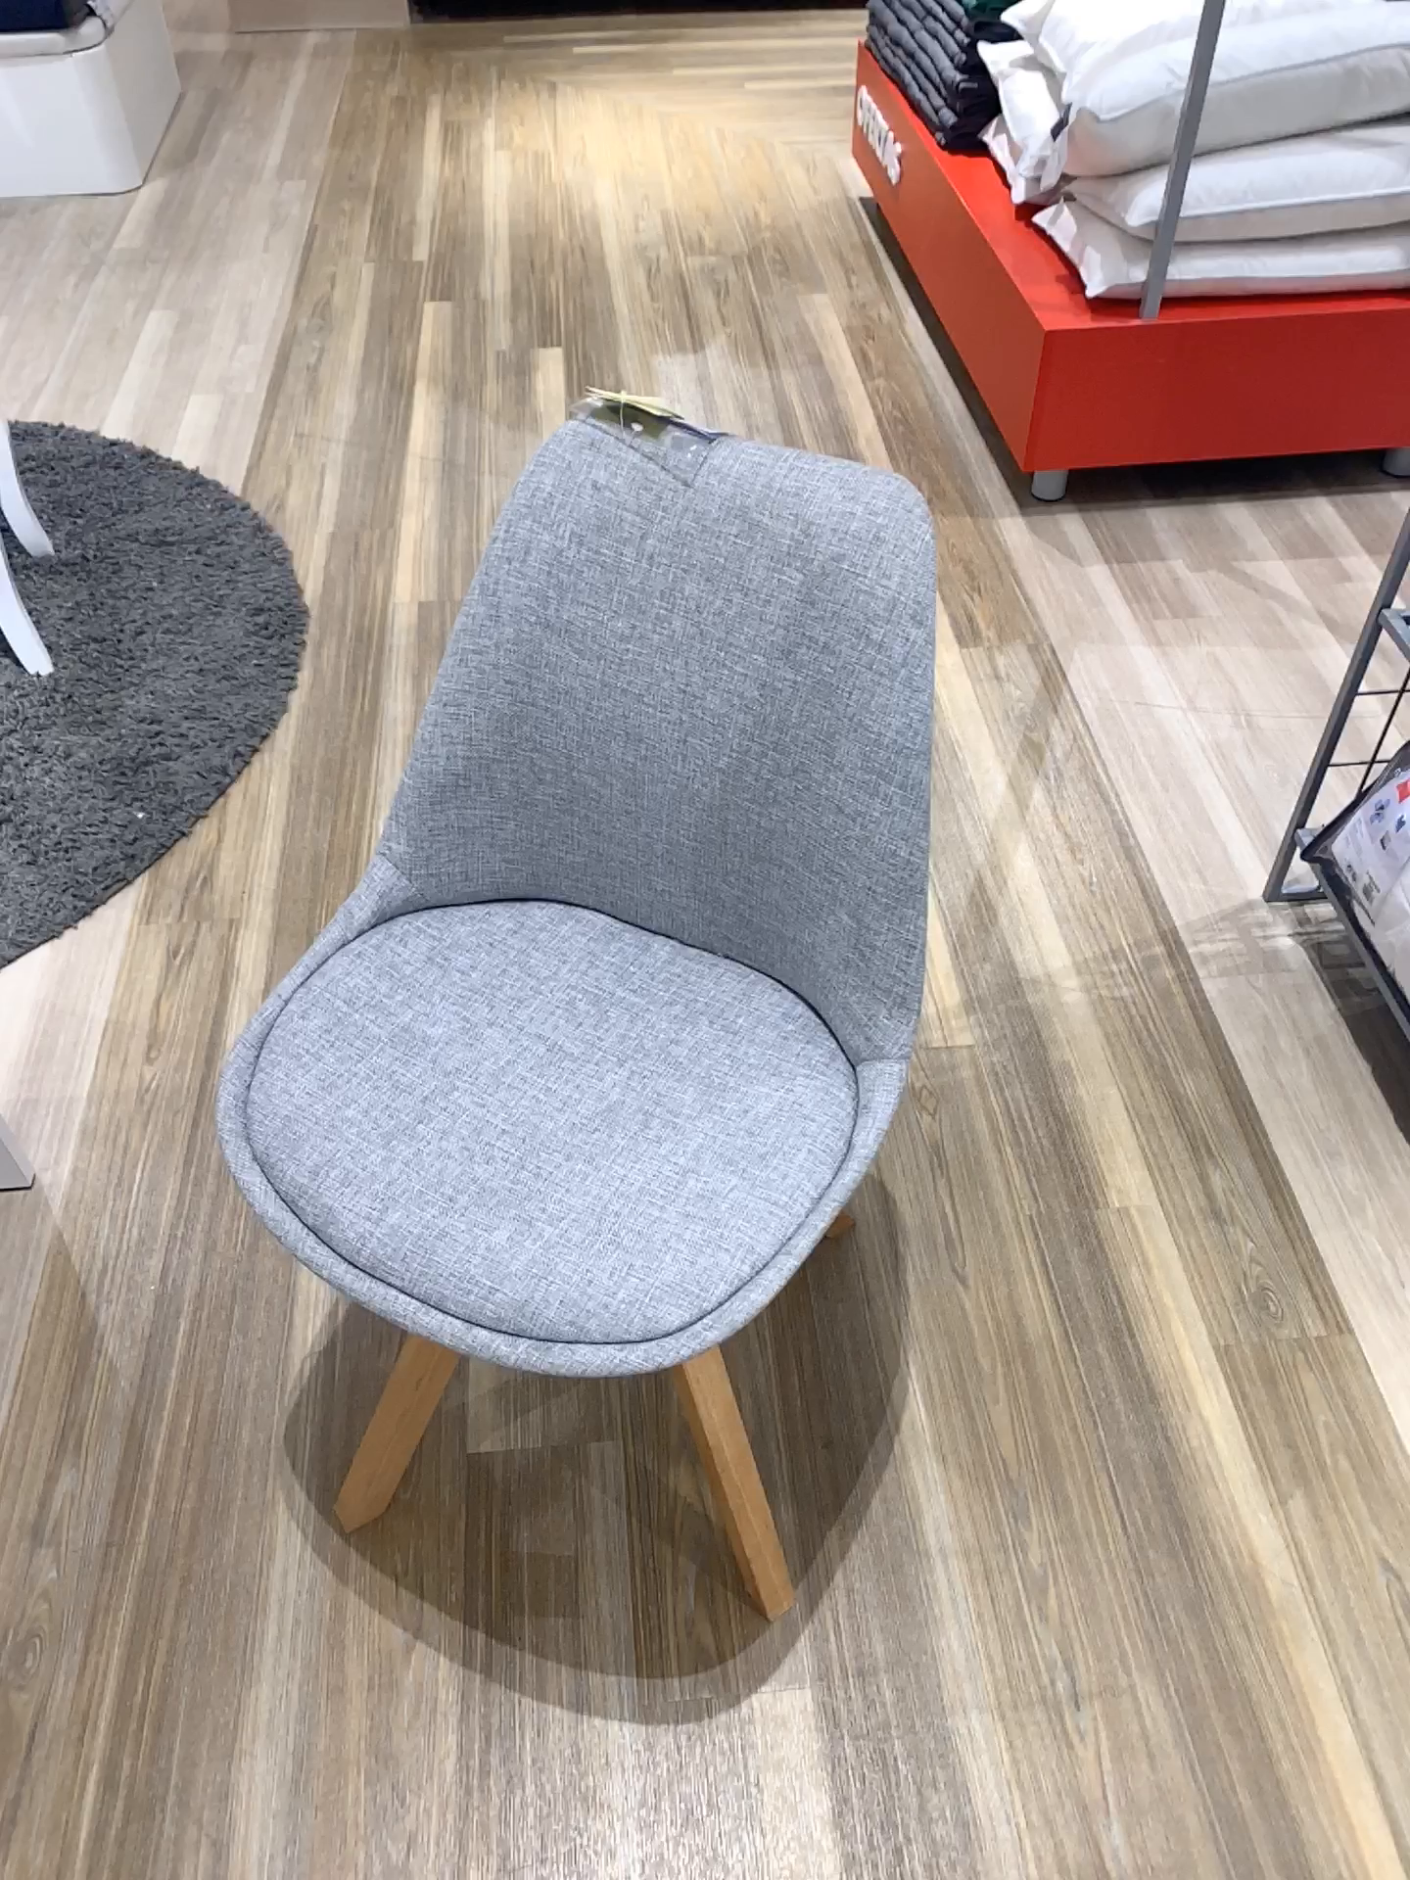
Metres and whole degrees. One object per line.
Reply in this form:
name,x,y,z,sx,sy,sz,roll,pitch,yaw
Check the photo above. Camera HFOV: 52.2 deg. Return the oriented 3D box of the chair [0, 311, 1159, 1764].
chair,-0.075,0.107,1.071,0.514,0.856,0.517,19,49,18
